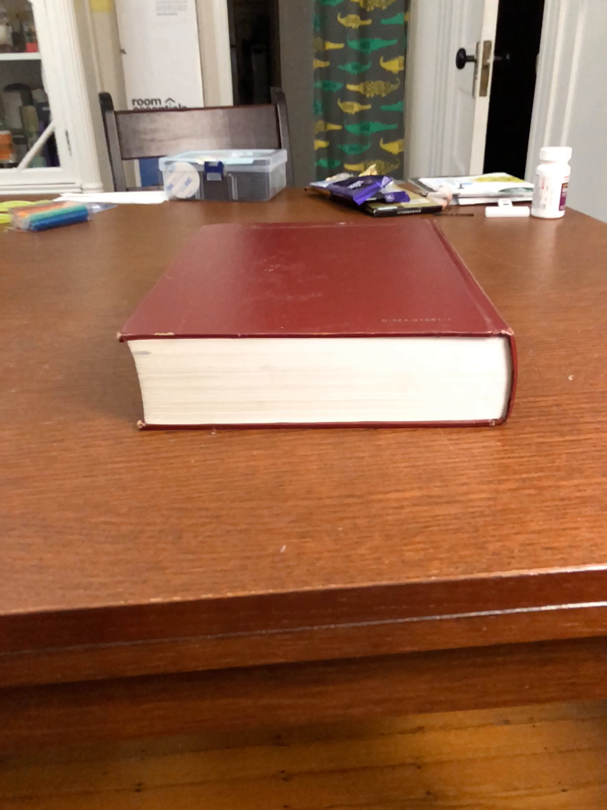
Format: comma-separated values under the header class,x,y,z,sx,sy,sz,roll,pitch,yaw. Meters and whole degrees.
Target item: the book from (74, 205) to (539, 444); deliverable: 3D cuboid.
class,x,y,z,sx,sy,sz,roll,pitch,yaw
book,0.005,-0.076,0.460,0.220,0.070,0.292,0,26,2
